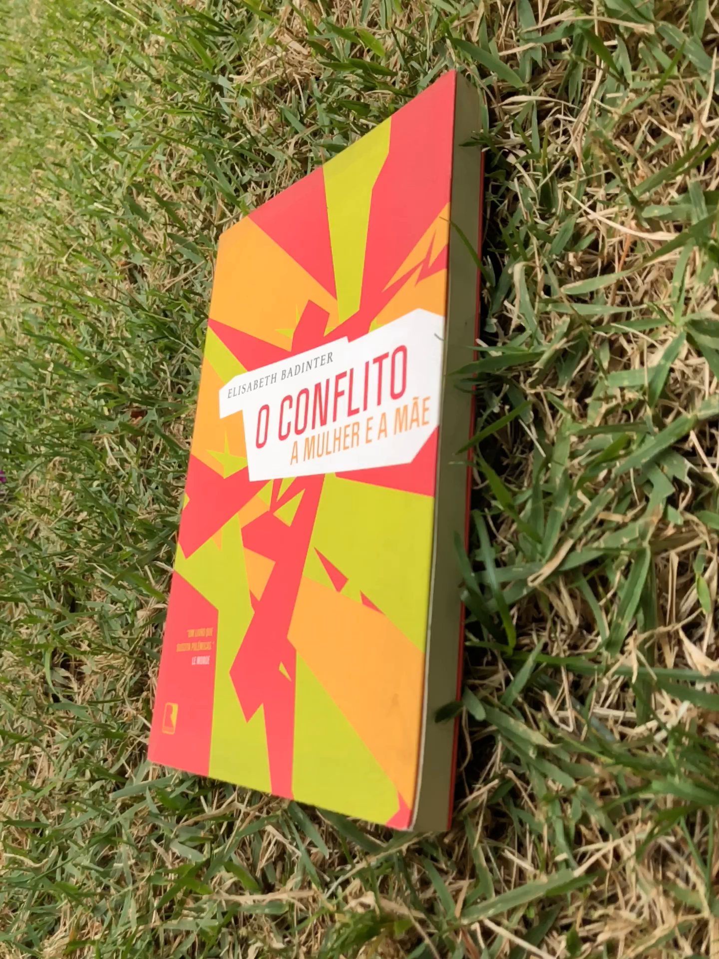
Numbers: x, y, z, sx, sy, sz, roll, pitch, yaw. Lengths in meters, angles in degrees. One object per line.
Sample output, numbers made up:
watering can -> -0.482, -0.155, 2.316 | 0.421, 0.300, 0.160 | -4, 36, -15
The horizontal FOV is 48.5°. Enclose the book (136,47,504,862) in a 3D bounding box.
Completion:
book -> -0.017, -0.007, 0.244 | 0.131, 0.020, 0.200 | -12, 68, 50
